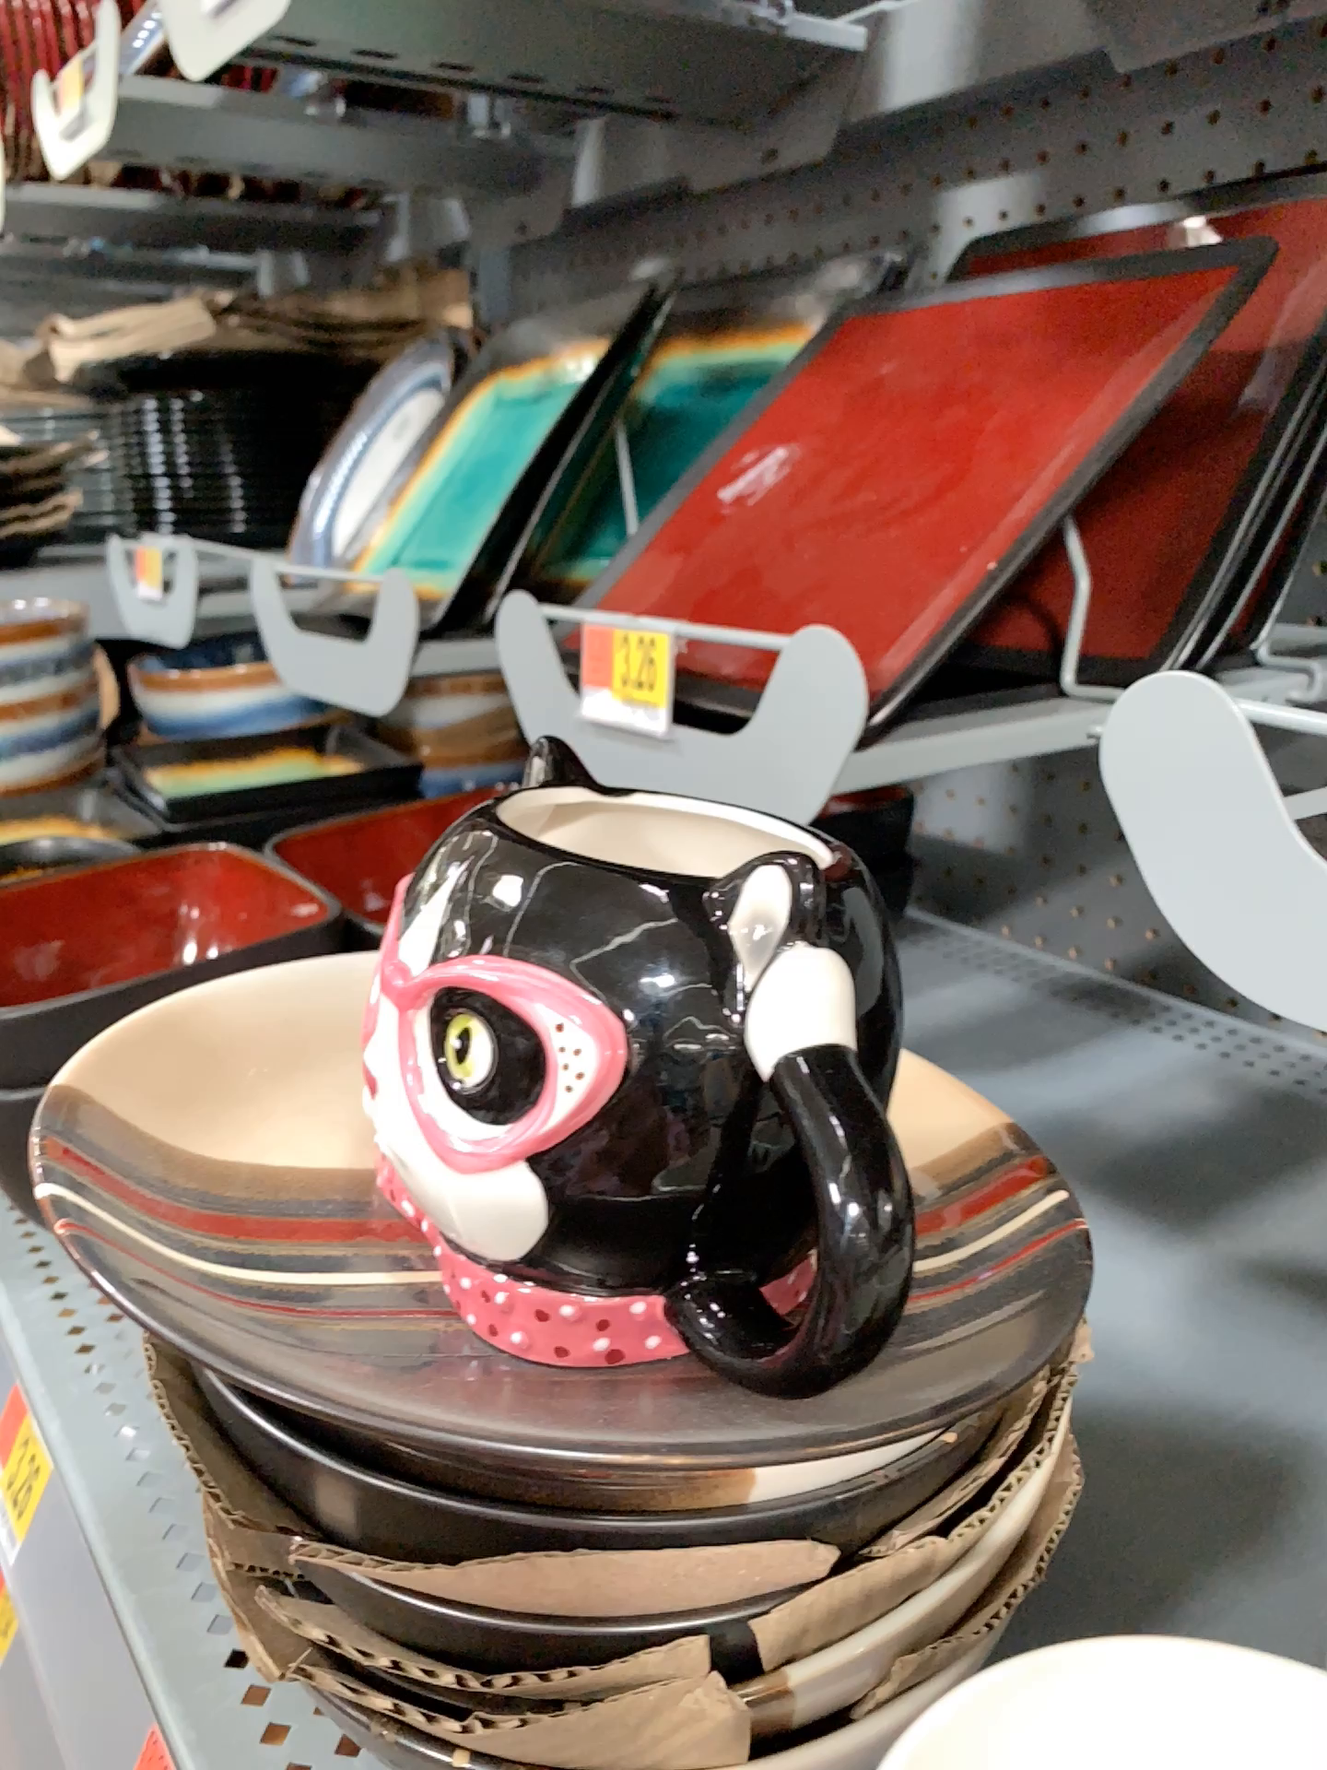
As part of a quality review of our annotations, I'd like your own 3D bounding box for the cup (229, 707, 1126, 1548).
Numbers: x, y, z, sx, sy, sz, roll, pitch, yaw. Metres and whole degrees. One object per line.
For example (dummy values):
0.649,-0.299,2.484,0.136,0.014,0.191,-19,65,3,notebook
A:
-0.010,0.021,0.244,0.096,0.074,0.145,-10,19,-25,cup
